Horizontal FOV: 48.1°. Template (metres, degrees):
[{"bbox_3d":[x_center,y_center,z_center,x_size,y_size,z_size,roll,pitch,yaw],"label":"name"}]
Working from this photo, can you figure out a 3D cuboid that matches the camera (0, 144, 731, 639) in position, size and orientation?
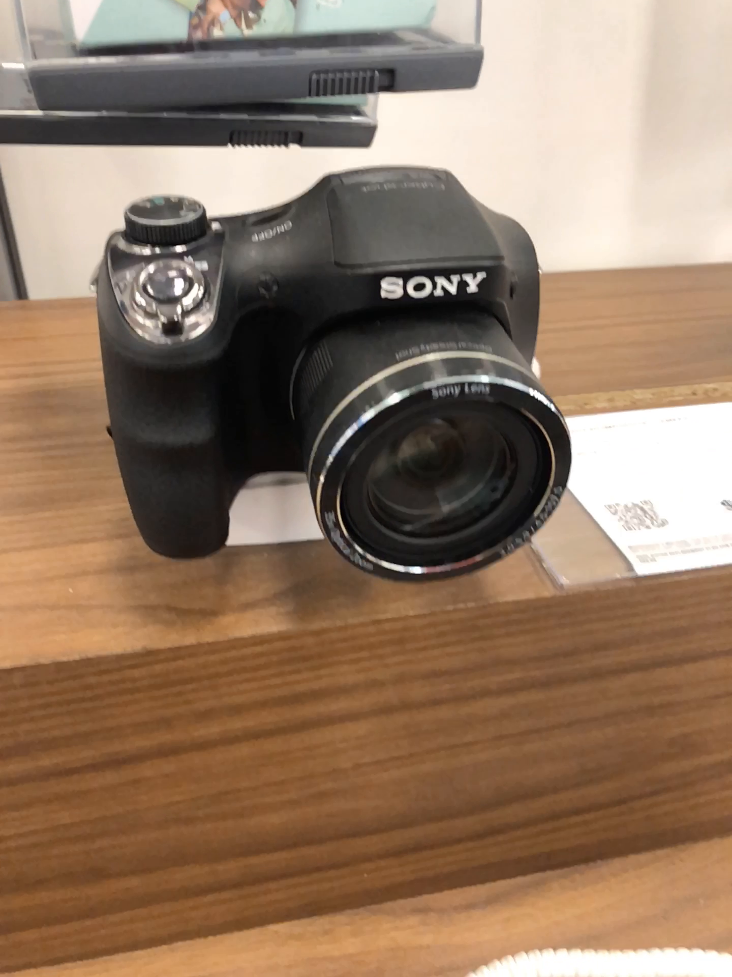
[{"bbox_3d":[-0.007,-0.039,0.224,0.140,0.080,0.120,-7,32,-11],"label":"camera"}]
